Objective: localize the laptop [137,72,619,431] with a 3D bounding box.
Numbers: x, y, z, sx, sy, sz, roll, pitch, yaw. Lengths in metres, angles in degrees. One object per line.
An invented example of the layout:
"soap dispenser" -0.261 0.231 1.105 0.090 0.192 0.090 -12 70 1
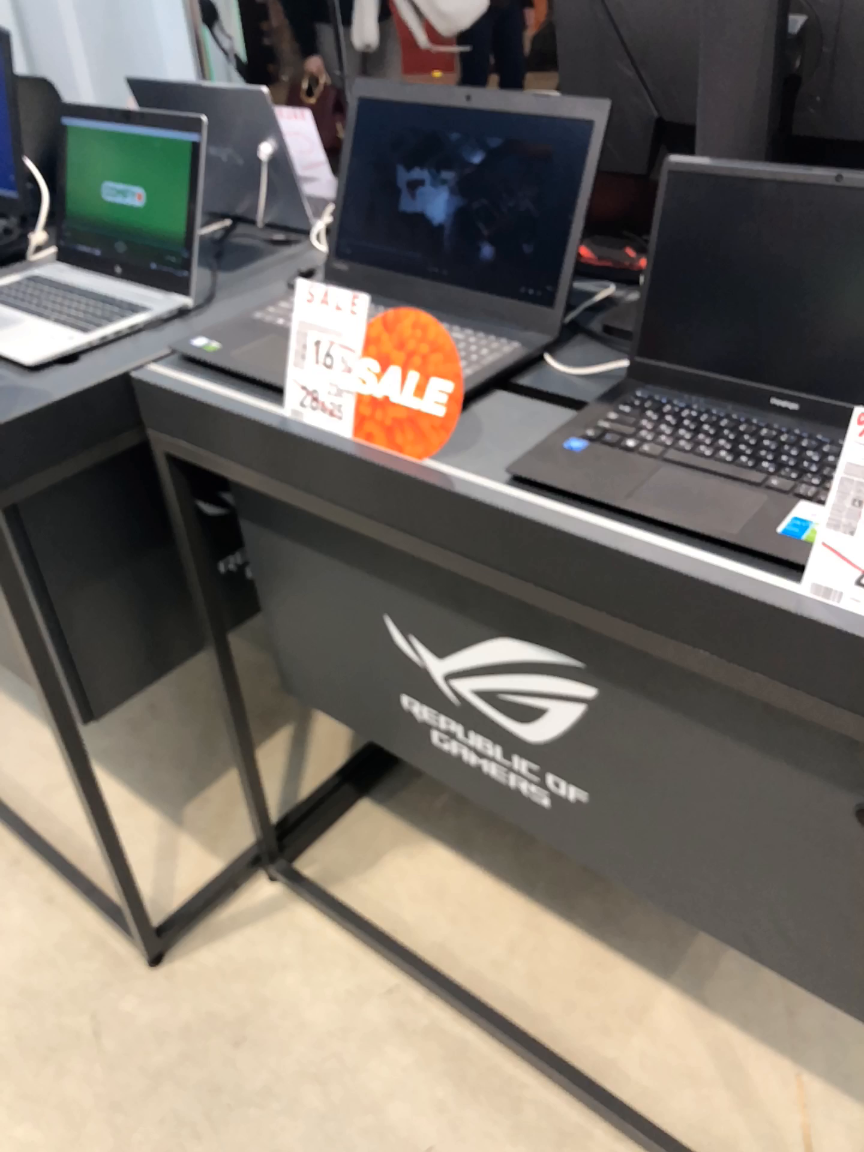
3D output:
"laptop" -0.052 -0.388 1.079 0.383 0.235 0.335 25 46 35
